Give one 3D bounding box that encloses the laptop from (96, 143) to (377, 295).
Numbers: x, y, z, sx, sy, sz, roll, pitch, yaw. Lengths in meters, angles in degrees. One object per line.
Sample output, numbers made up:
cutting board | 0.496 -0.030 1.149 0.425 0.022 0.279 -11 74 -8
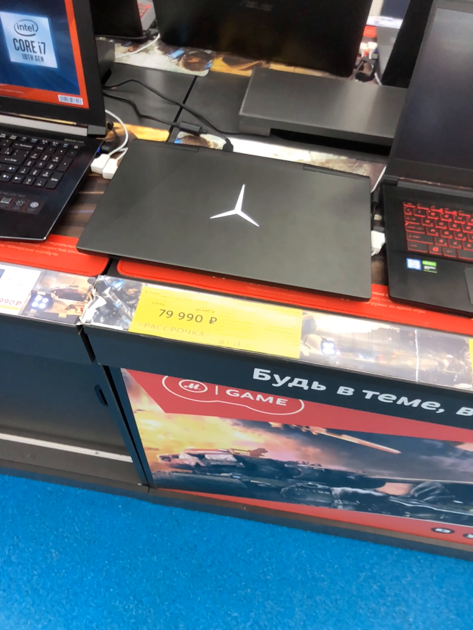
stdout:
laptop | 0.014 -0.142 0.704 0.343 0.007 0.228 9 50 3
